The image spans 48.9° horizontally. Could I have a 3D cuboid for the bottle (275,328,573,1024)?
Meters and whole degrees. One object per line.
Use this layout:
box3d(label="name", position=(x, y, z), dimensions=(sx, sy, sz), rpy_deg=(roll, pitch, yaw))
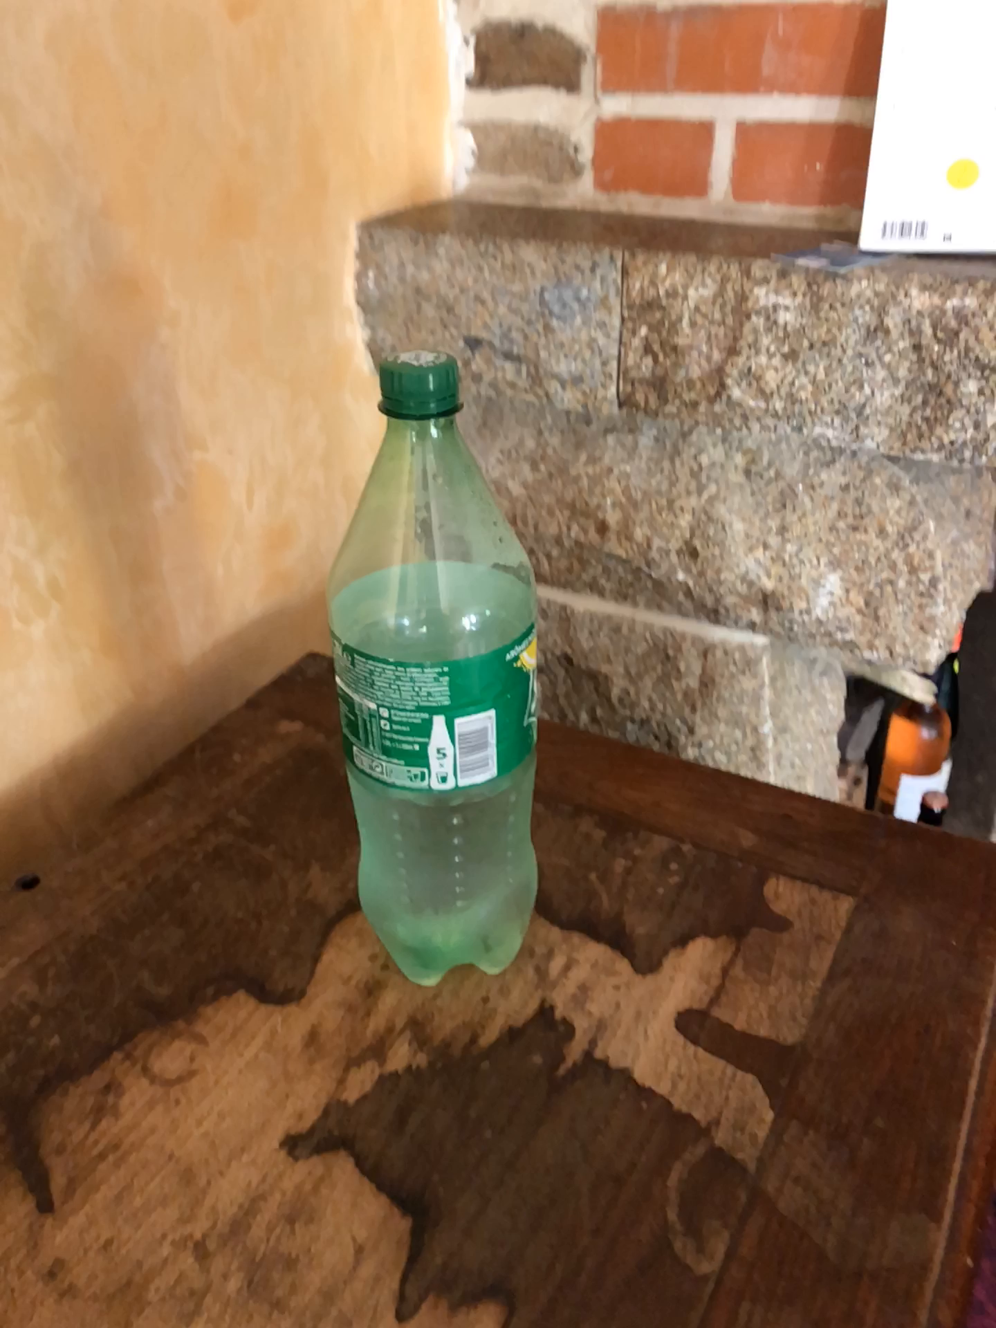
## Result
box3d(label="bottle", position=(-0.029, 0.012, 0.469), dimensions=(0.090, 0.278, 0.090), rpy_deg=(-1, 30, 0))
